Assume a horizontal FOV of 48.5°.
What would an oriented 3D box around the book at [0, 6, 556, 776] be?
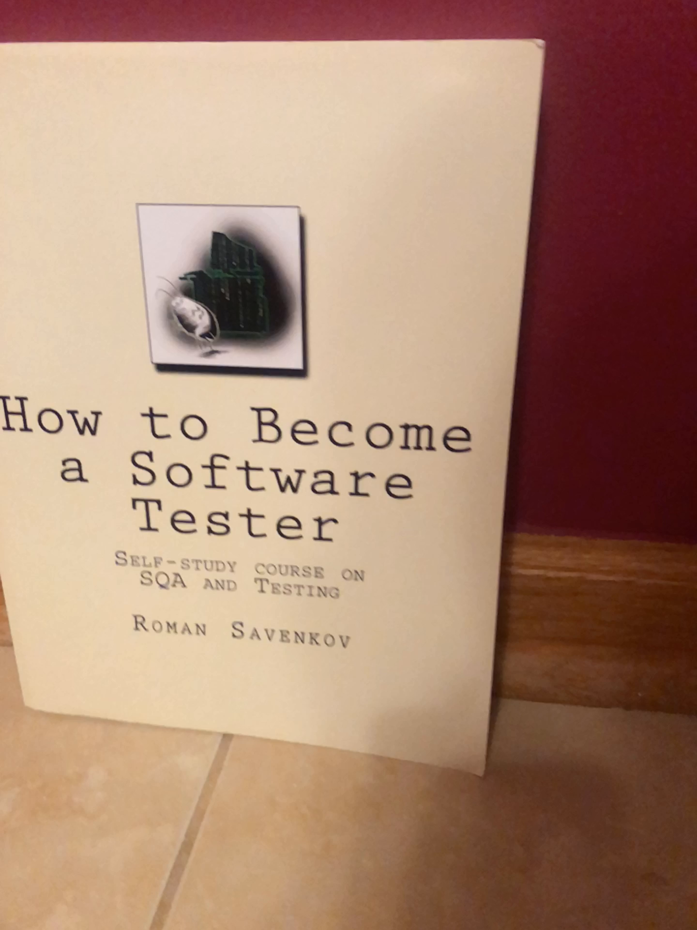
[{"bbox_3d":[-0.044,-0.015,0.305,0.220,0.273,0.046,3,23,10],"label":"book"}]
